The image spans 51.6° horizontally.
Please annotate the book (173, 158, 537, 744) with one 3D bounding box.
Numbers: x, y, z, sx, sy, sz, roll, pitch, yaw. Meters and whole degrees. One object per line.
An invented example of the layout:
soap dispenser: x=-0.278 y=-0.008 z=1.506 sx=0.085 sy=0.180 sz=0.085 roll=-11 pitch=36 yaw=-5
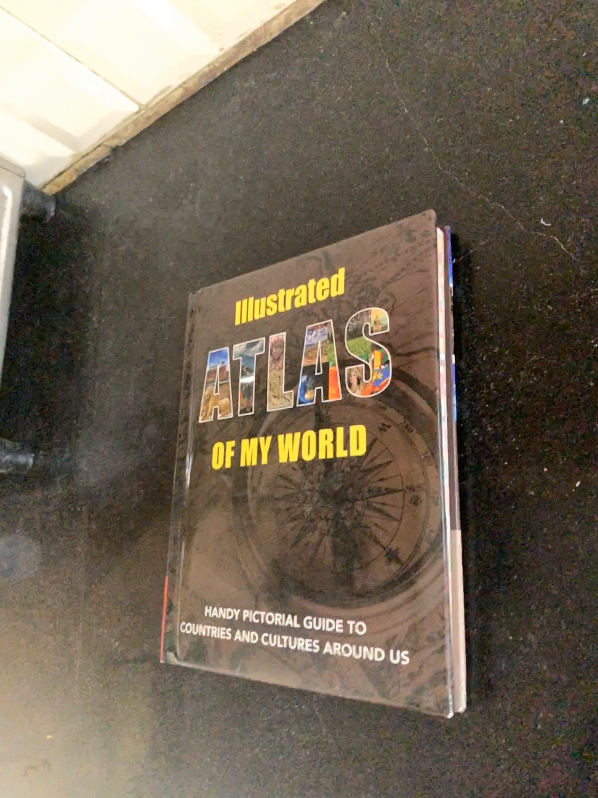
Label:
book: x=0.019 y=0.025 z=0.359 sx=0.201 sy=0.040 sz=0.270 roll=-10 pitch=71 yaw=37
